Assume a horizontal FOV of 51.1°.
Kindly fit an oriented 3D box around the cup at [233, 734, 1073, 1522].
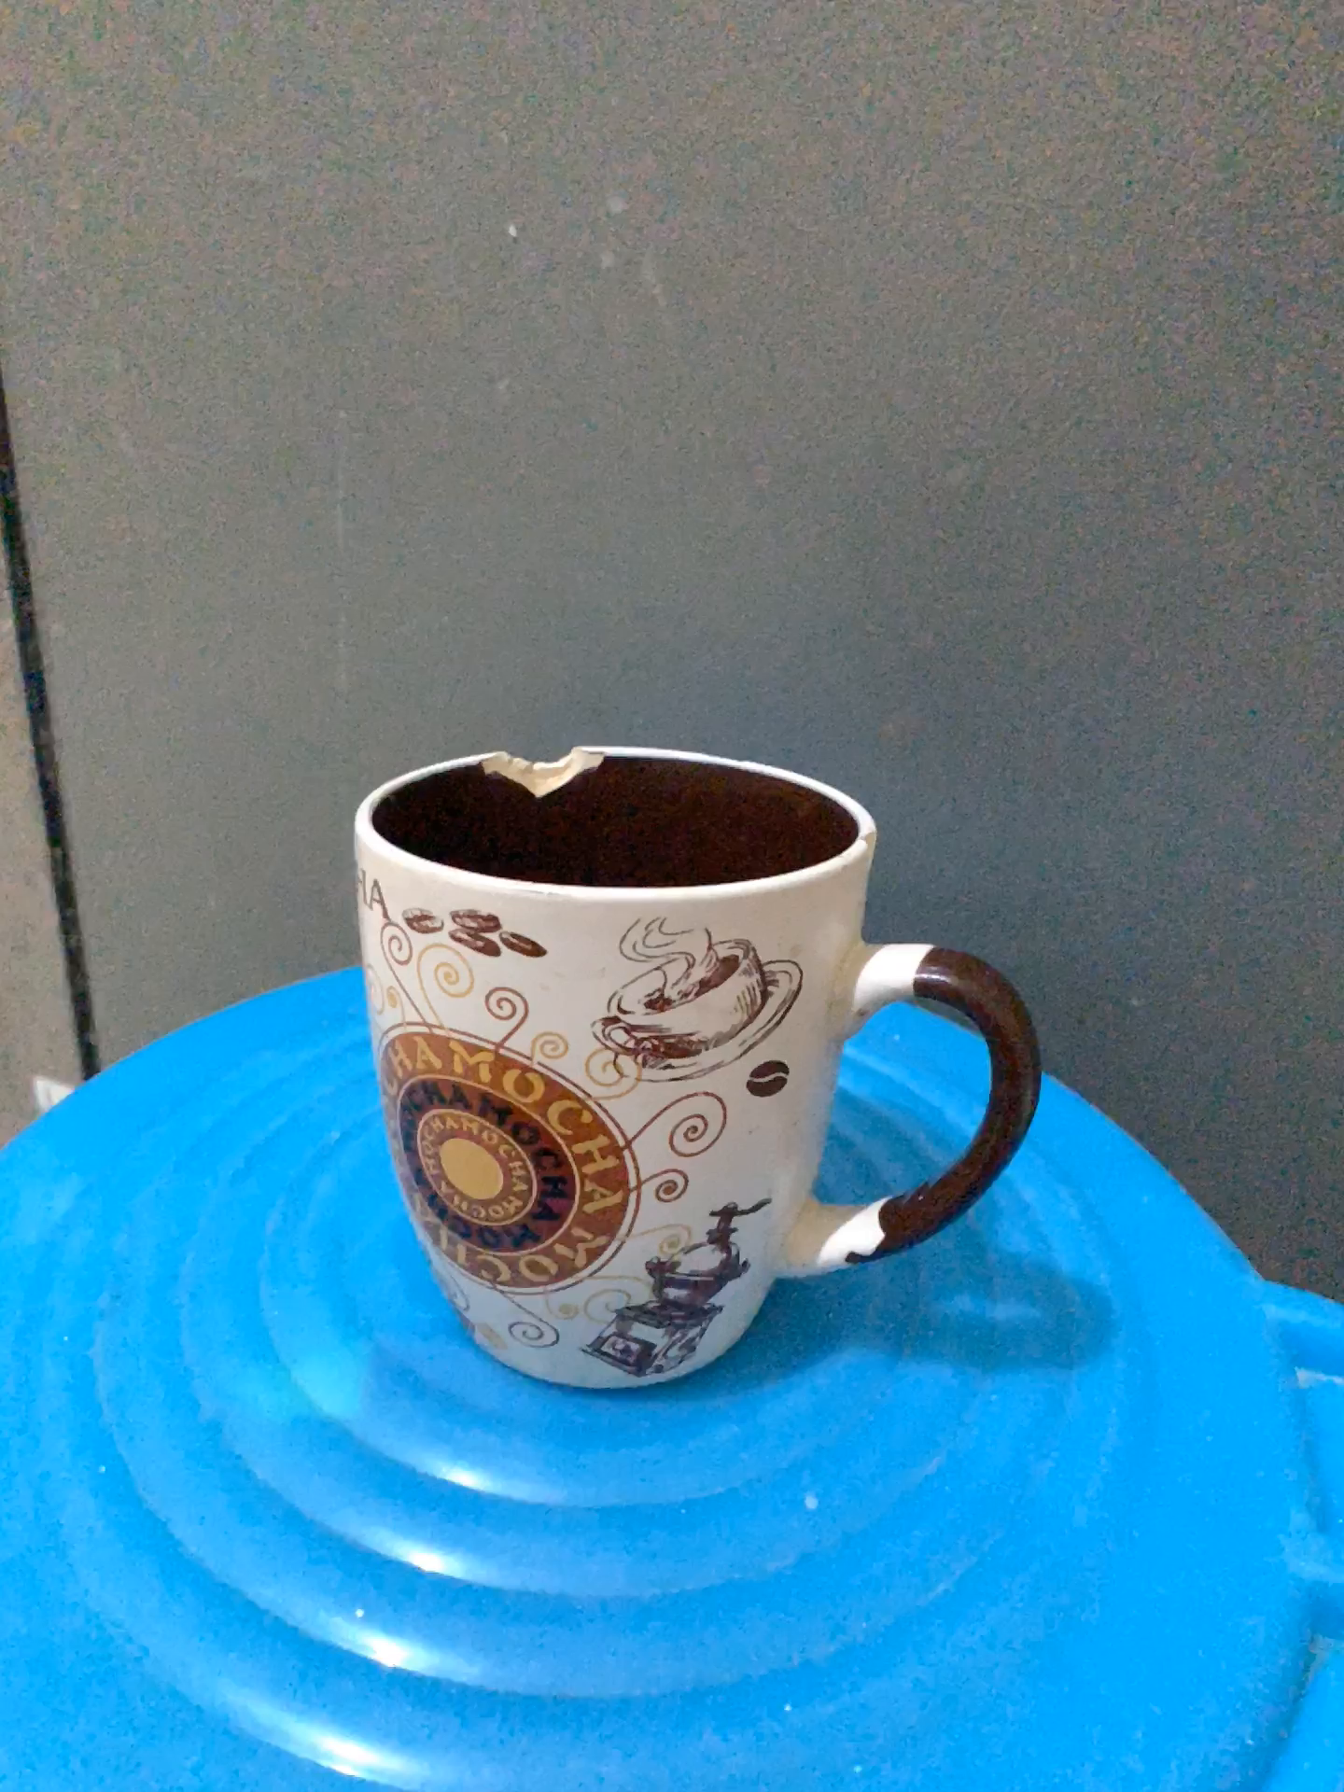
[{"bbox_3d":[0.001,0.028,0.223,0.109,0.082,0.071,7,21,13],"label":"cup"}]
